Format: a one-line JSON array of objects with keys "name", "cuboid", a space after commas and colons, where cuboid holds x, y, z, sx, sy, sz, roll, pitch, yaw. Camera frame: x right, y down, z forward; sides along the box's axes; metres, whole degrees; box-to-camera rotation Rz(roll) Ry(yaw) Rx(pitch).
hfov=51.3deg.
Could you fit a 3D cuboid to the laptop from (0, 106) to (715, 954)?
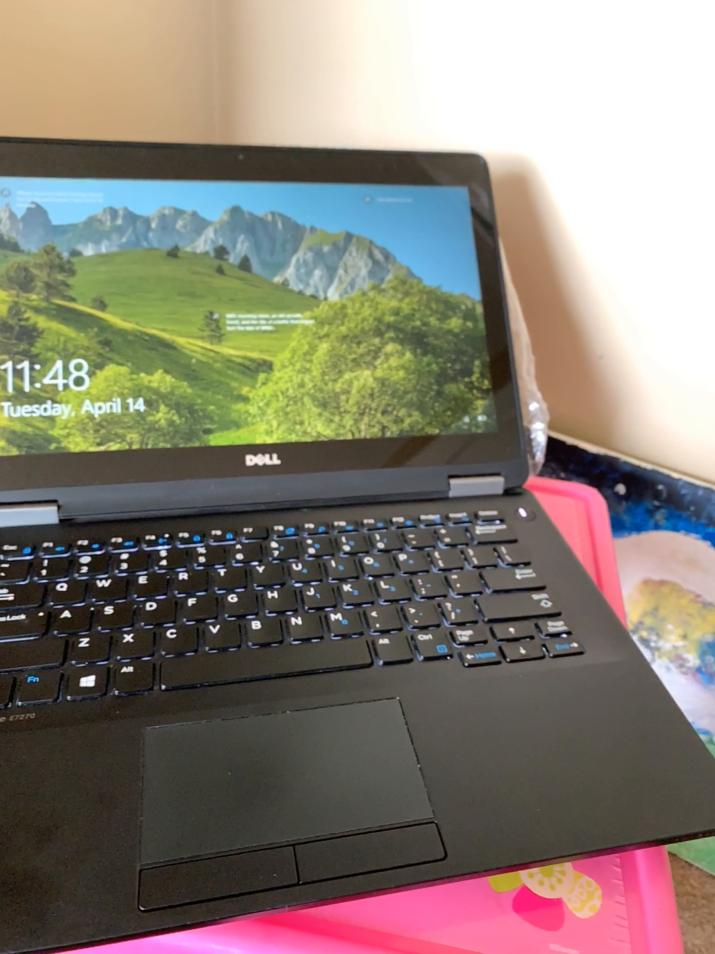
[{"name": "laptop", "cuboid": [-0.034, -0.030, 0.289, 0.261, 0.121, 0.302, -3, 39, -13]}]
